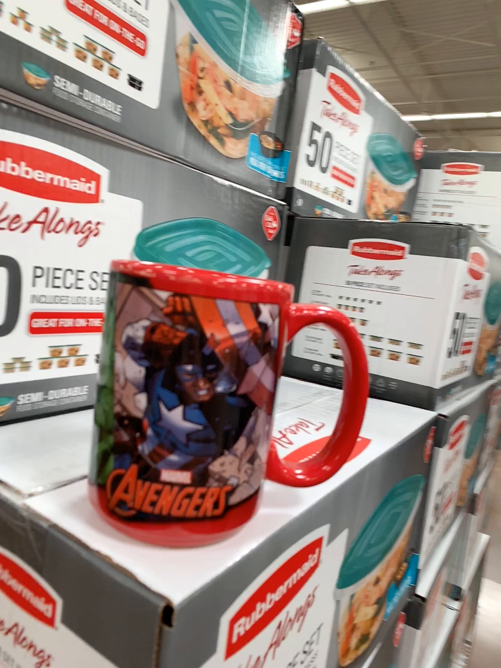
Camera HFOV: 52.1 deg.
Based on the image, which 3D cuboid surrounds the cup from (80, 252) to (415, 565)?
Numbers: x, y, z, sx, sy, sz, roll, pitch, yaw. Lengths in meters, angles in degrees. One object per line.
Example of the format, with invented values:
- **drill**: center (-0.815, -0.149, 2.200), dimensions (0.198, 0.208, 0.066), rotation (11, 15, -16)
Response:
- **cup**: center (-0.007, 0.027, 0.253), dimensions (0.119, 0.114, 0.100), rotation (7, 10, -7)
